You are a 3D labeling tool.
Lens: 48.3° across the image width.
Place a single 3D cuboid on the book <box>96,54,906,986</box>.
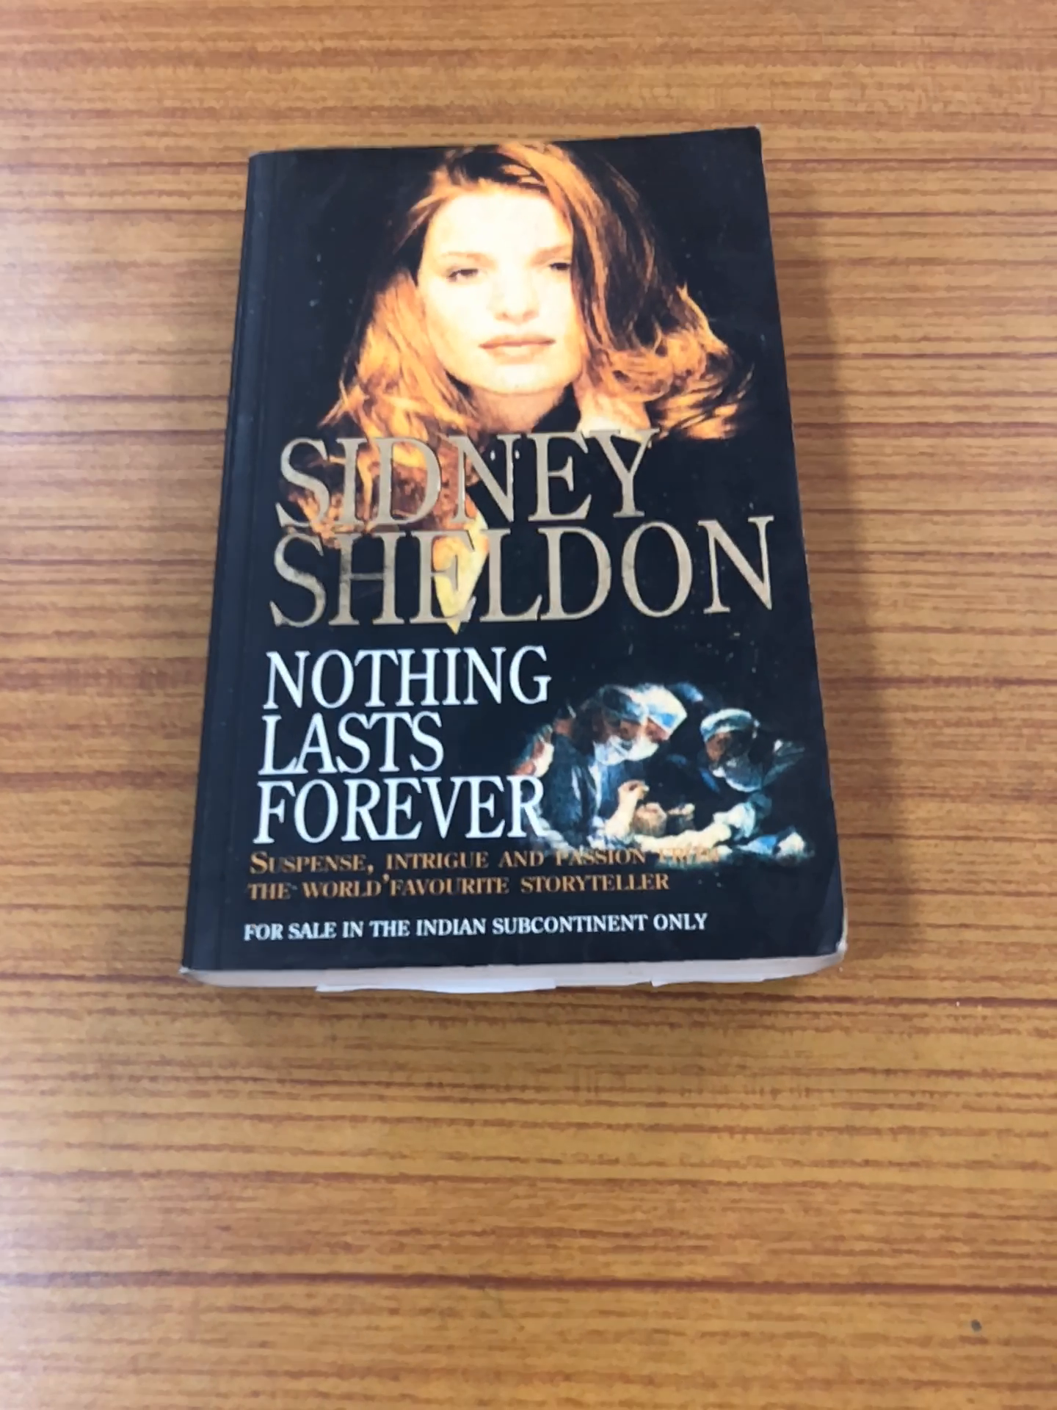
[{"bbox_3d":[-0.006,-0.039,0.216,0.120,0.030,0.170,-2,71,1],"label":"book"}]
